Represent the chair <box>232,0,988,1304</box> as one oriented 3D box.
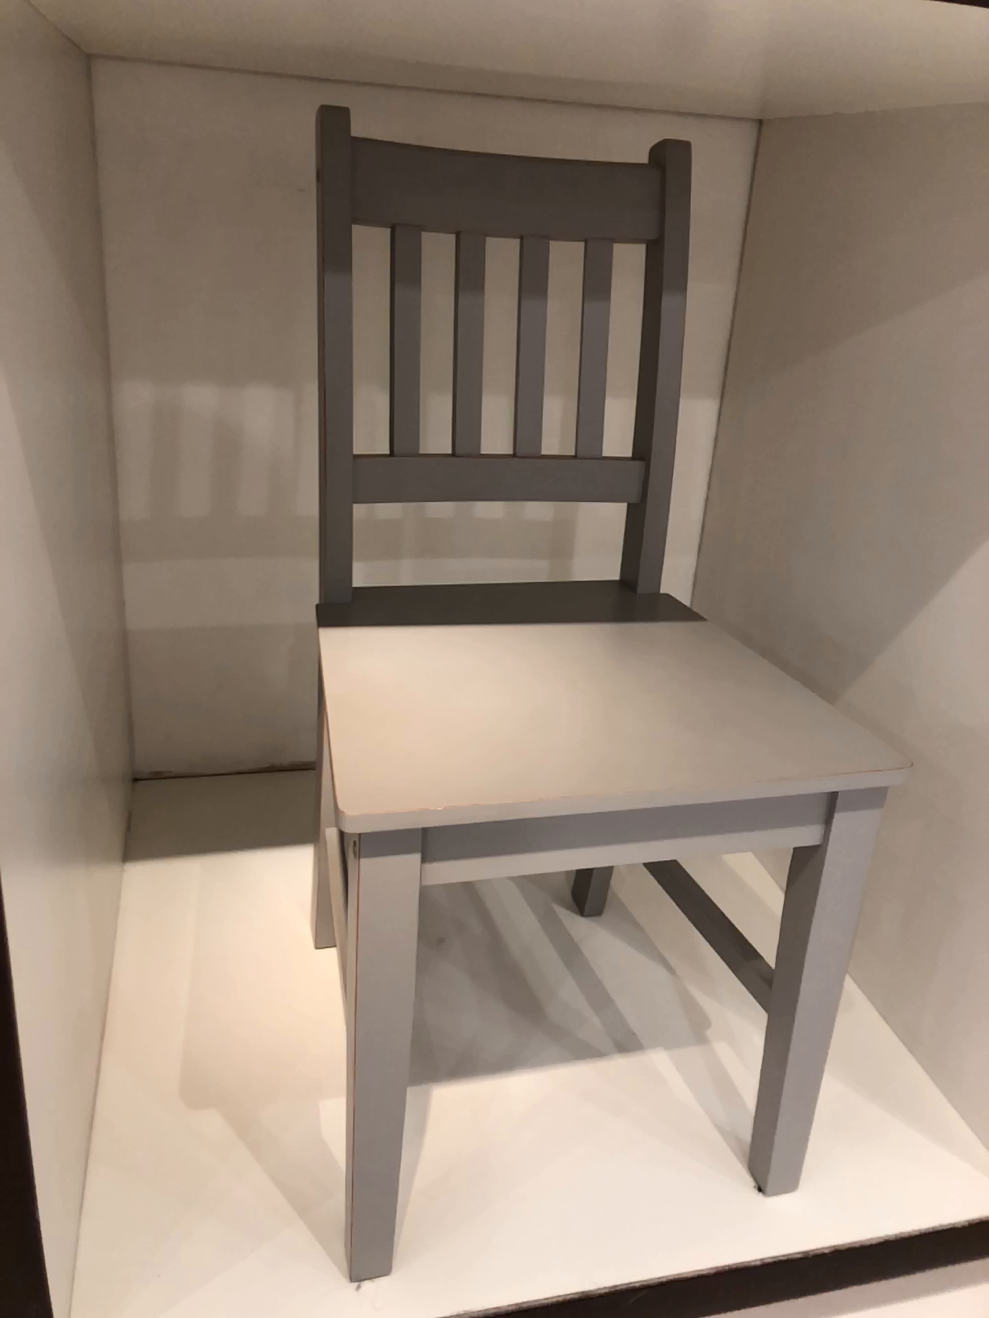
[{"bbox_3d":[0.025,-0.033,0.984,0.460,0.864,0.584,-3,24,-16],"label":"chair"}]
